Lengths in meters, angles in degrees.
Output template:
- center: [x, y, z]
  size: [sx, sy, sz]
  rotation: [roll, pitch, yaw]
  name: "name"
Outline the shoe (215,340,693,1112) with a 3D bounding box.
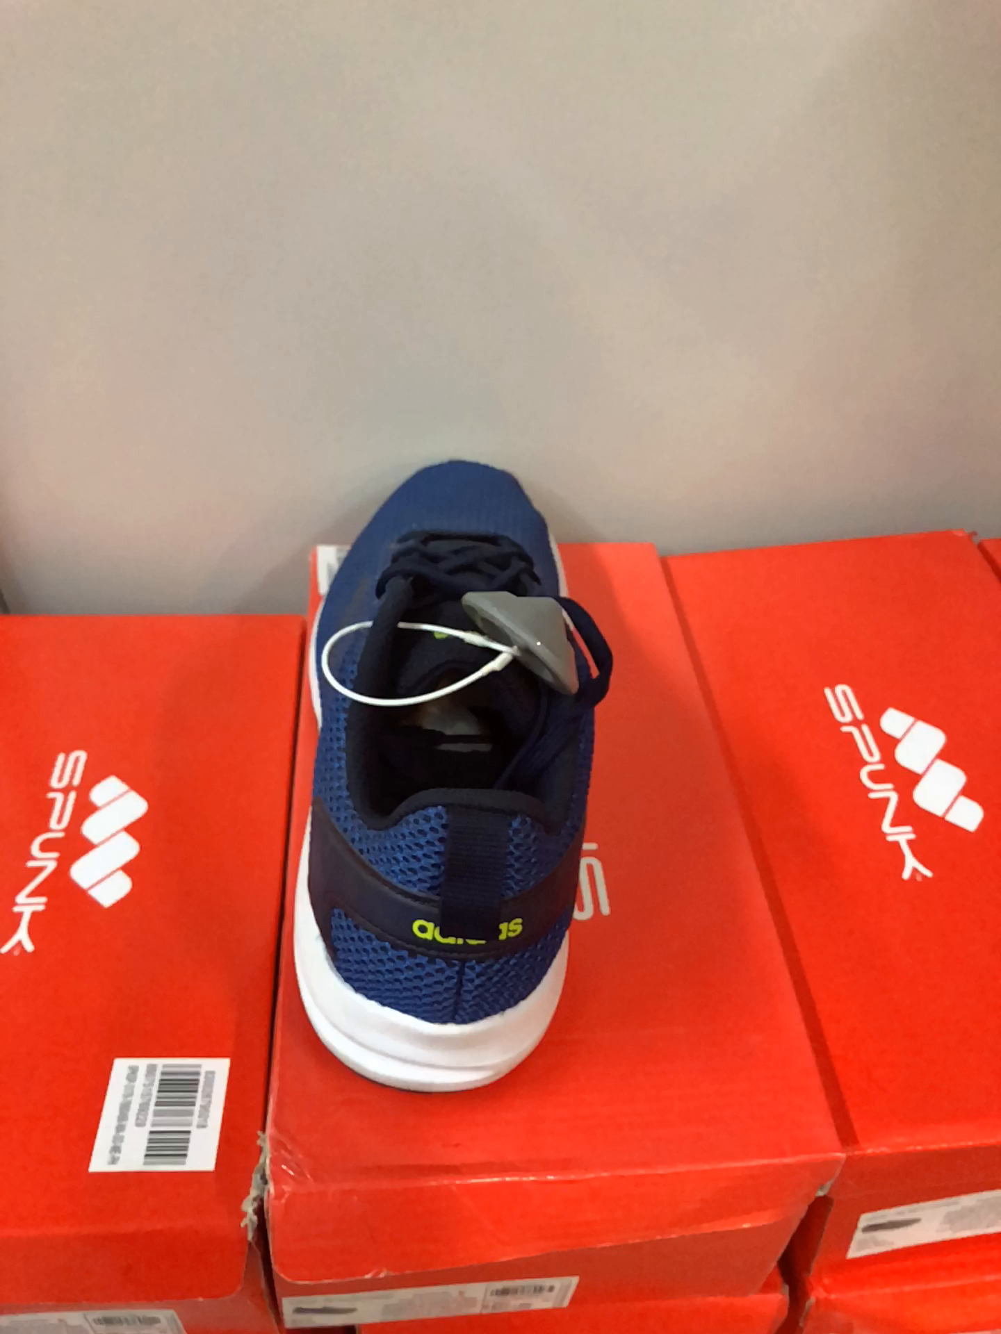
- center: [-0.021, -0.010, 0.424]
  size: [0.113, 0.114, 0.317]
  rotation: [0, 37, -4]
  name: "shoe"
